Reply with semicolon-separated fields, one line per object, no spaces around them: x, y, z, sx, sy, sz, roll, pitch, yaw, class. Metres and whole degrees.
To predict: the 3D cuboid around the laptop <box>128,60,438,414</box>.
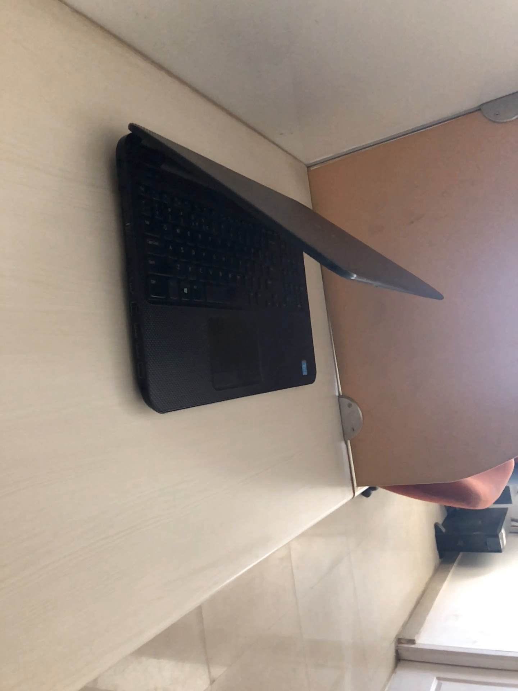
0.058;-0.081;0.626;0.366;0.177;0.247;-3;85;-63;laptop
